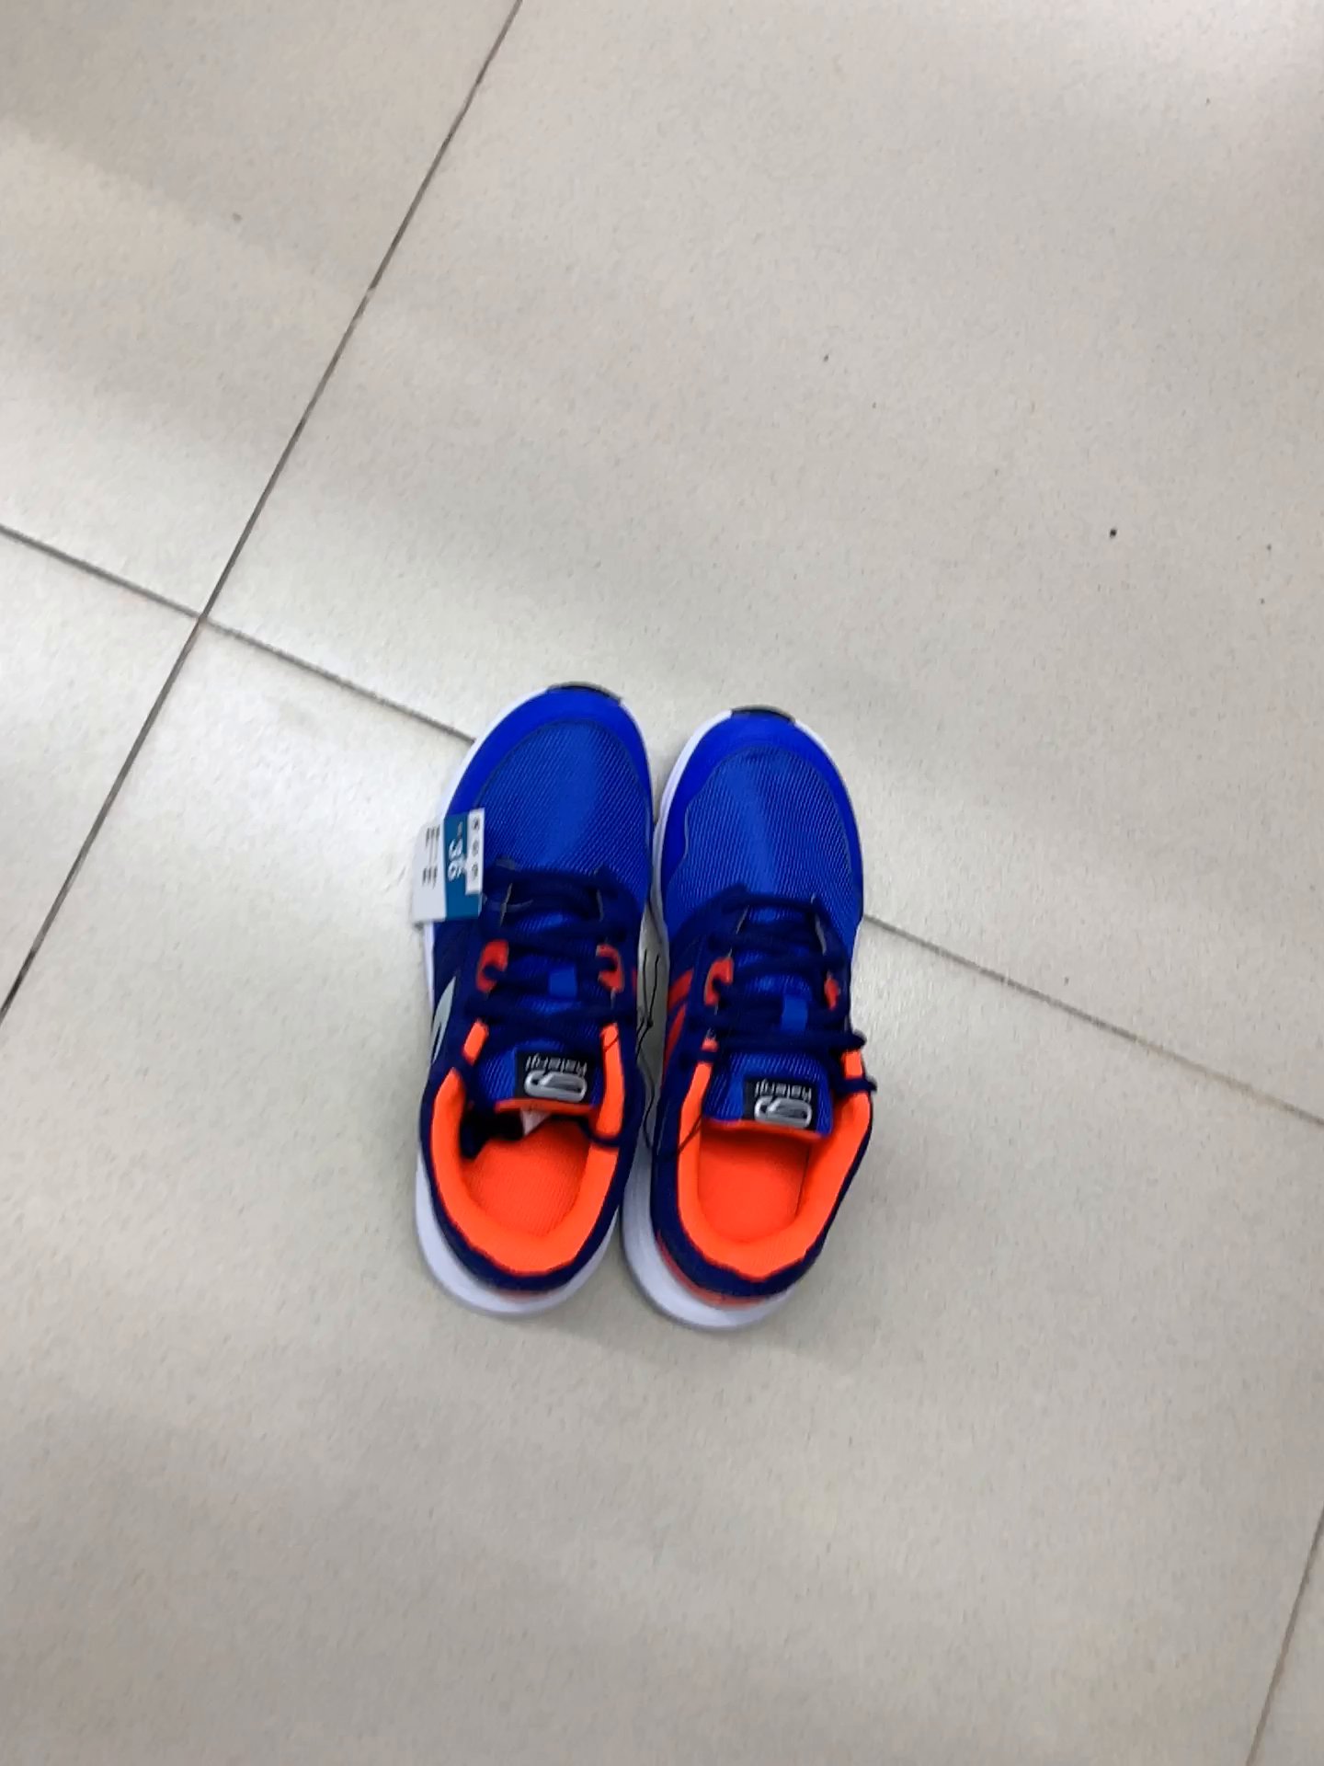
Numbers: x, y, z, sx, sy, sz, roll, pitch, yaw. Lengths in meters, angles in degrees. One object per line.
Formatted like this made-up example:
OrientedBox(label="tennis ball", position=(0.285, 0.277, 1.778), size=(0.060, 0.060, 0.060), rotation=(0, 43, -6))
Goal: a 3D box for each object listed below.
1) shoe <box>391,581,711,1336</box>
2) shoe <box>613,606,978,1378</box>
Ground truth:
OrientedBox(label="shoe", position=(-0.045, 0.030, 0.519), size=(0.090, 0.120, 0.250), rotation=(5, 82, -9))
OrientedBox(label="shoe", position=(0.046, 0.041, 0.513), size=(0.090, 0.120, 0.250), rotation=(7, 82, -9))
